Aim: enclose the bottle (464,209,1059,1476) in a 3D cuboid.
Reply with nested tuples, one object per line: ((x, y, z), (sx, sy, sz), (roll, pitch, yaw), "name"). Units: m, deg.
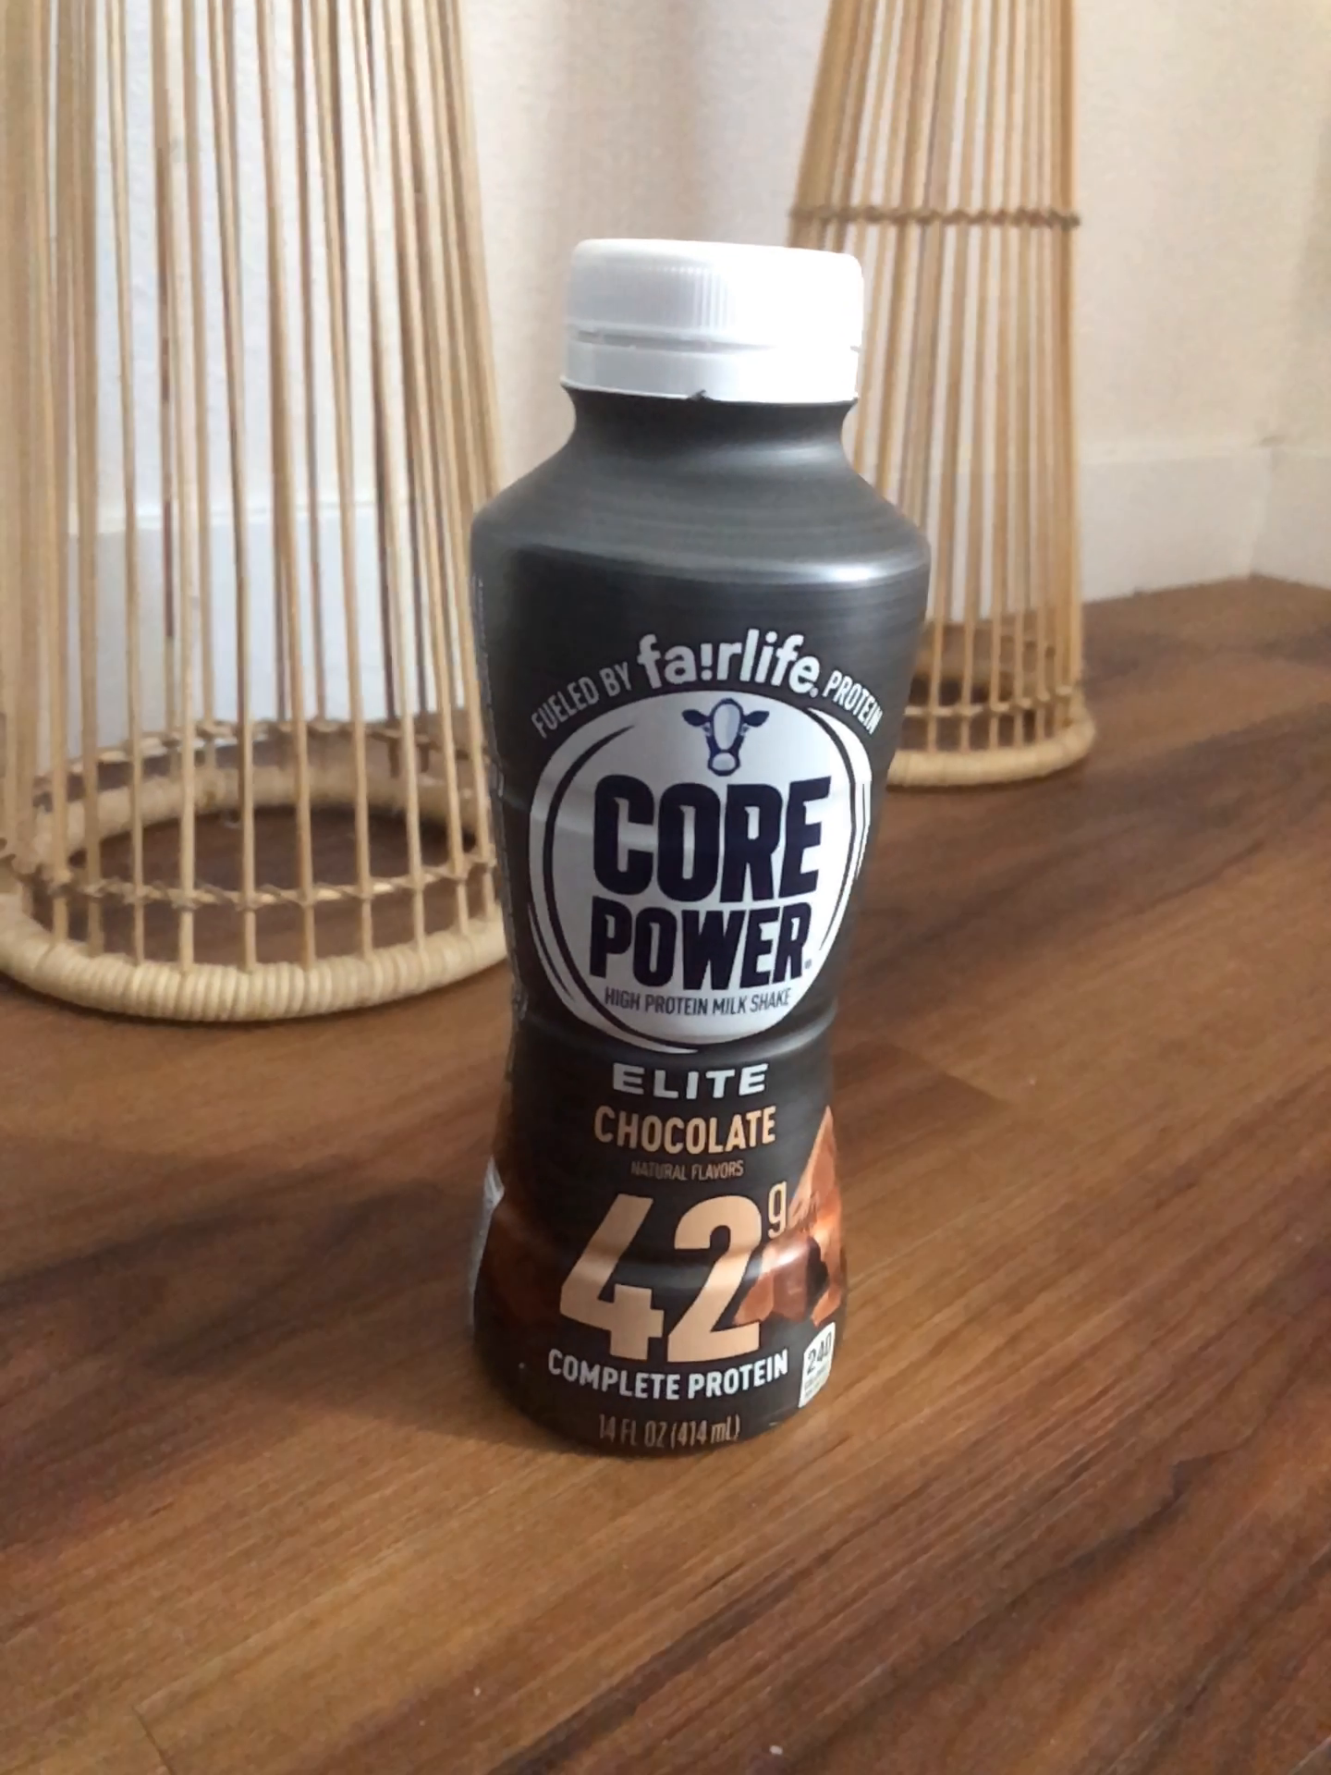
((0.004, -0.005, 0.239), (0.070, 0.184, 0.070), (3, 22, -1), "bottle")
